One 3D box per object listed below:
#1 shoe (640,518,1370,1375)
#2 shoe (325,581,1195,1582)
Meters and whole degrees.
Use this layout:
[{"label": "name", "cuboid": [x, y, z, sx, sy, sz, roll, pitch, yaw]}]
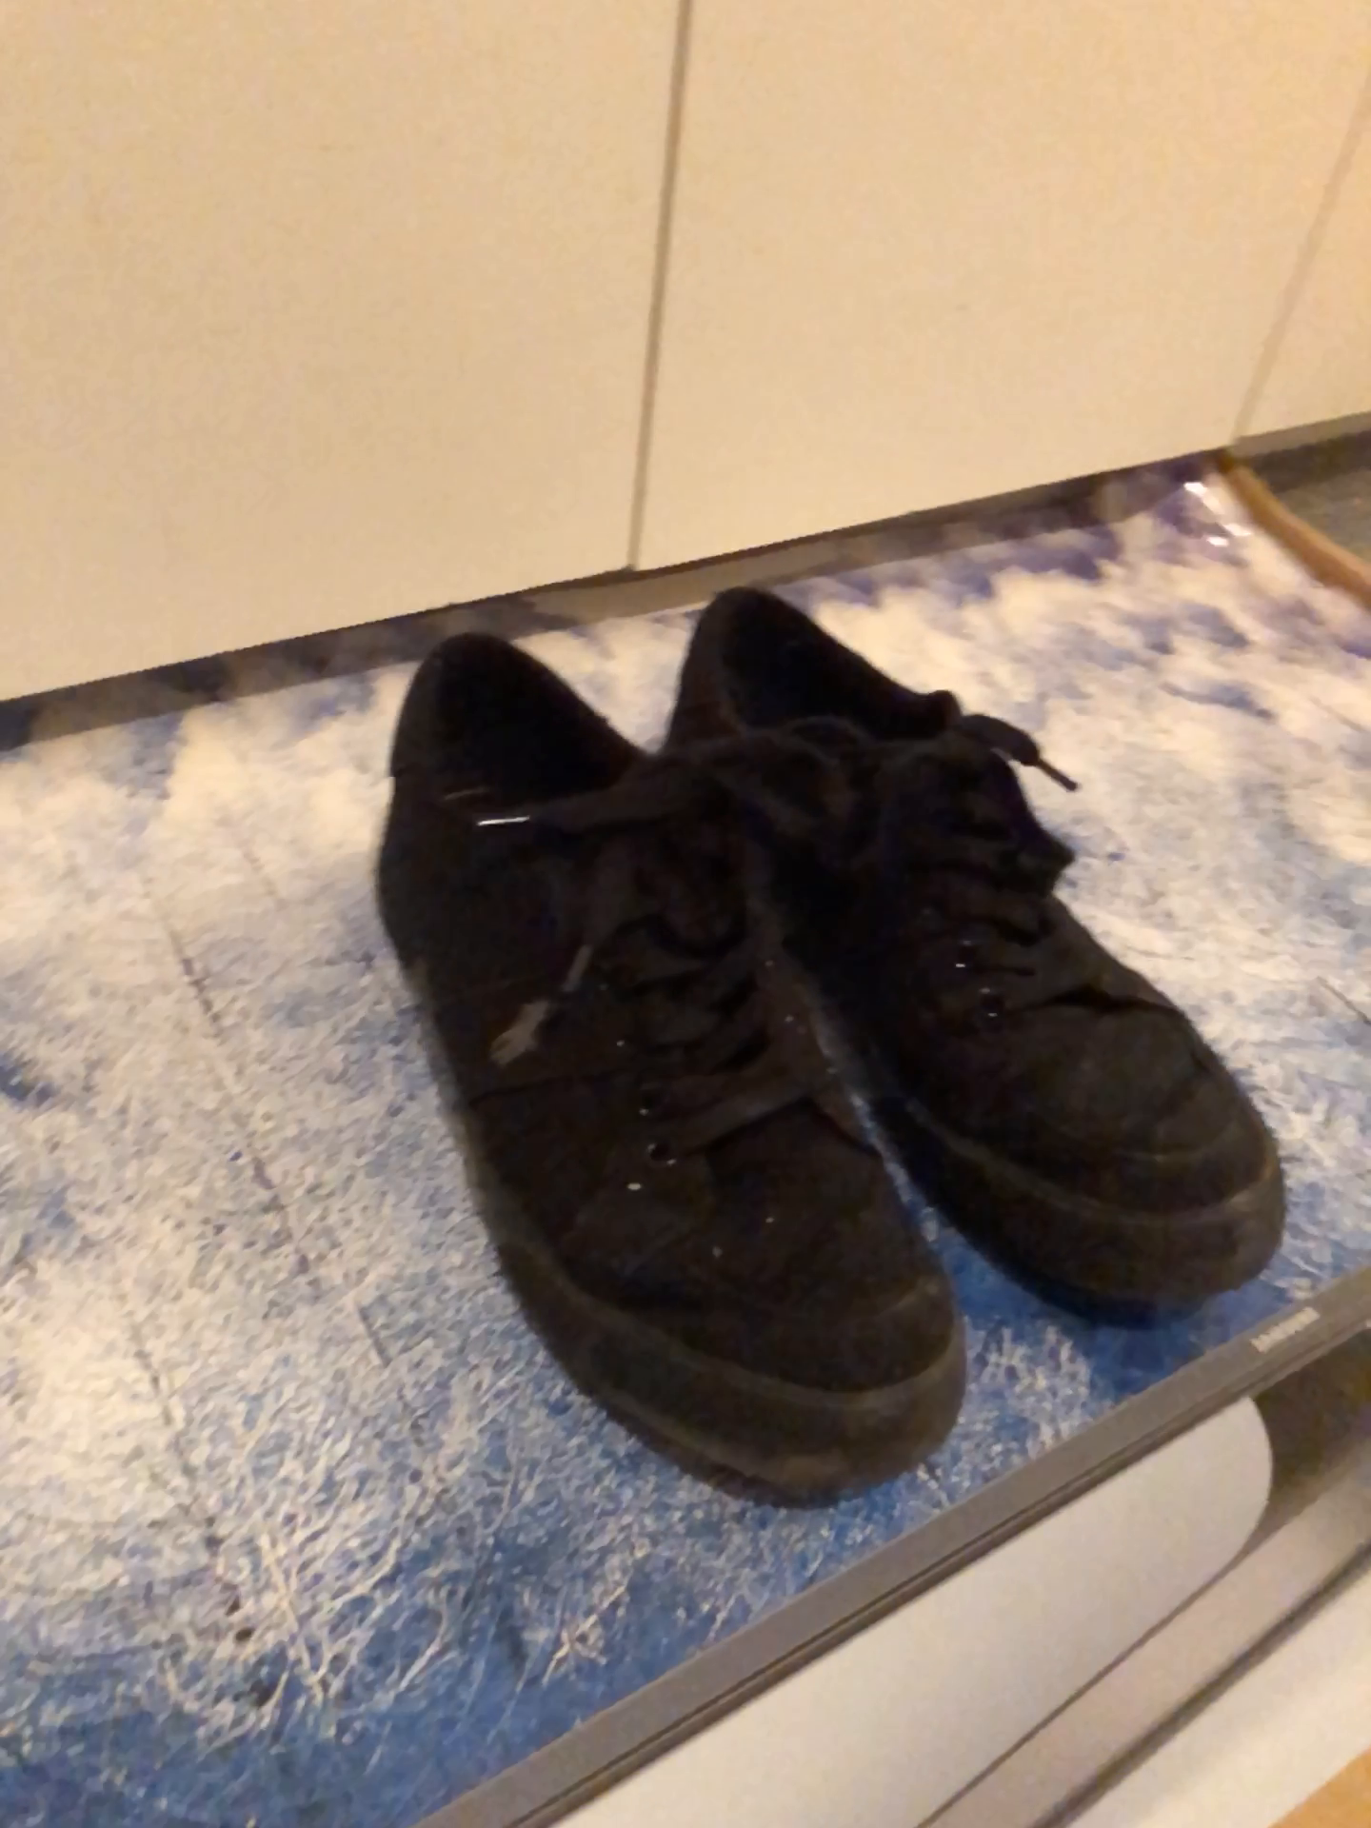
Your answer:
[{"label": "shoe", "cuboid": [0.100, -0.009, 0.484, 0.110, 0.109, 0.261, -17, 47, -26]}, {"label": "shoe", "cuboid": [-0.003, 0.026, 0.442, 0.110, 0.109, 0.272, -17, 47, -26]}]
